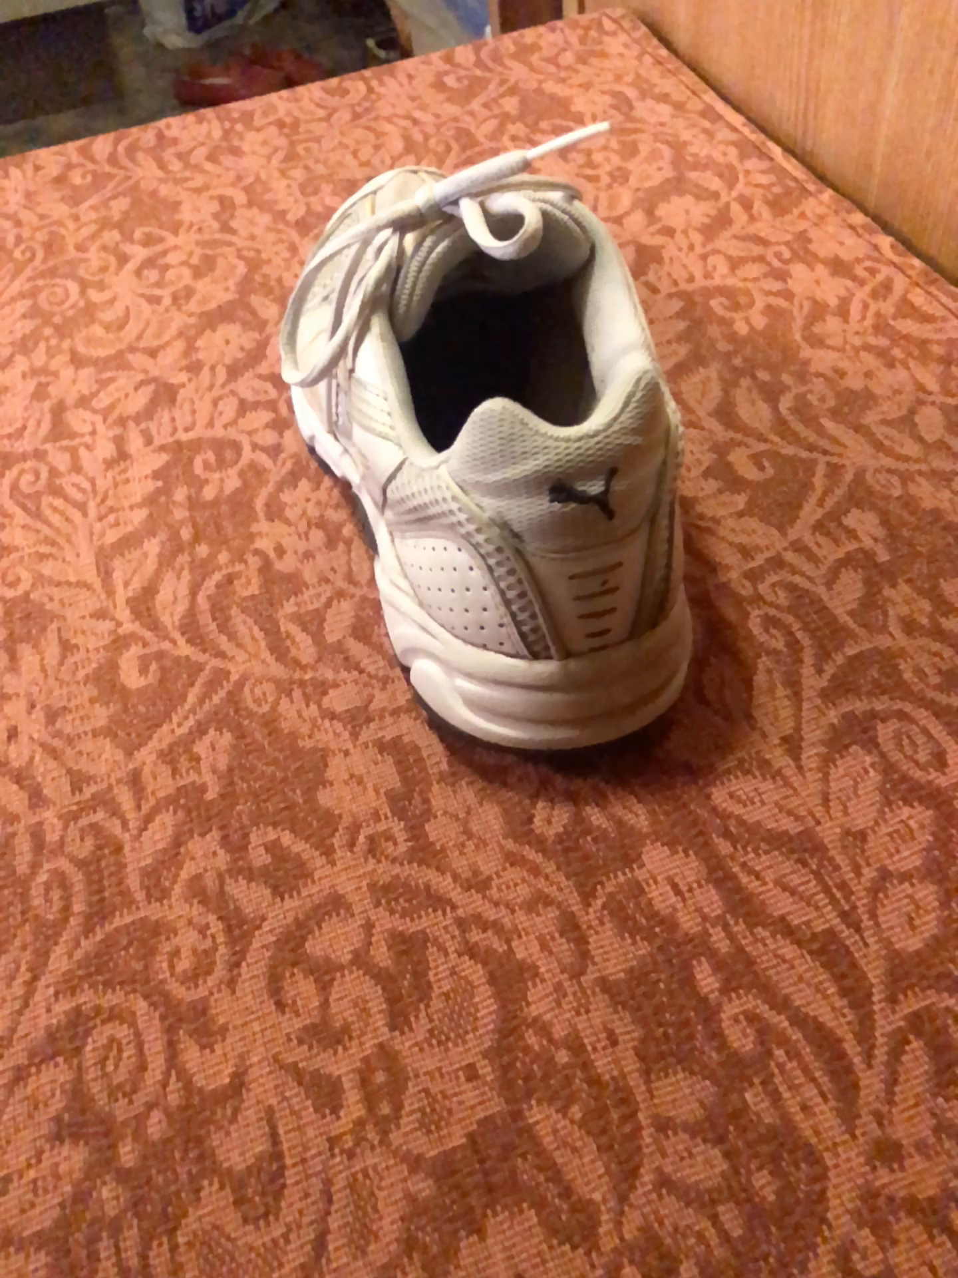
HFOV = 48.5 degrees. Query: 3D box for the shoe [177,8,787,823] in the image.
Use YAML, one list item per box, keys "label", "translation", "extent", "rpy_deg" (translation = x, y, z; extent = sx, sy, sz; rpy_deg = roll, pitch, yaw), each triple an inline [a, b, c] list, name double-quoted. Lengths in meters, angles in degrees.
- label: "shoe"
  translation: [-0.020, -0.099, 0.349]
  extent: [0.100, 0.100, 0.291]
  rpy_deg: [-16, 48, -7]
